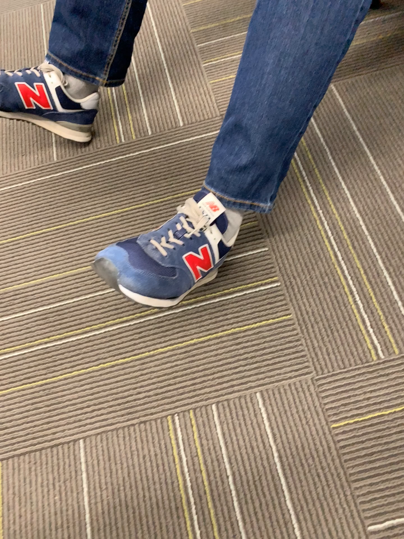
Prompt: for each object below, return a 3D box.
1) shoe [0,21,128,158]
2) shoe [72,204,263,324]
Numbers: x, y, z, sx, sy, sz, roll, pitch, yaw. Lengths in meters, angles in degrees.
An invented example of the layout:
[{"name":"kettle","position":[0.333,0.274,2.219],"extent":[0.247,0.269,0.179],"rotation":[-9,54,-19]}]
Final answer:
[{"name":"shoe","position":[-0.331,-0.365,0.873],"extent":[0.136,0.295,0.121],"rotation":[-57,48,25]},{"name":"shoe","position":[-0.033,-0.028,0.635],"extent":[0.115,0.302,0.096],"rotation":[35,115,21]}]
